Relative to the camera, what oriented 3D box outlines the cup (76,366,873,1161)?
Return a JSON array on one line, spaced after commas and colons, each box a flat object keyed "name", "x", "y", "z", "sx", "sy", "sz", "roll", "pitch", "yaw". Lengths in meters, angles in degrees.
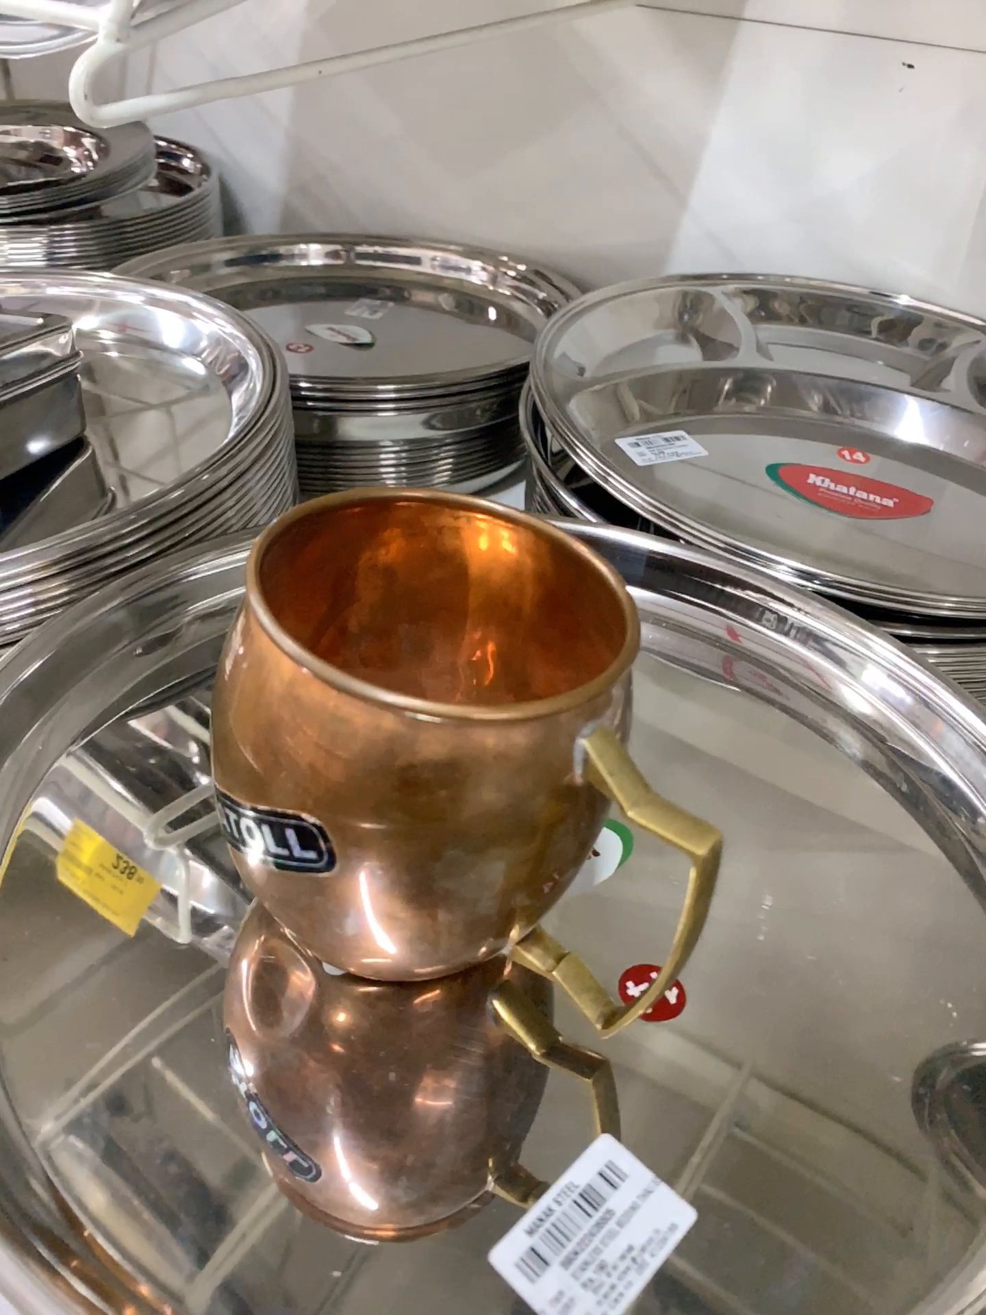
[{"name": "cup", "x": -0.008, "y": 0.012, "z": 0.218, "sx": 0.120, "sy": 0.090, "sz": 0.090, "roll": 32, "pitch": 46, "yaw": 27}]
